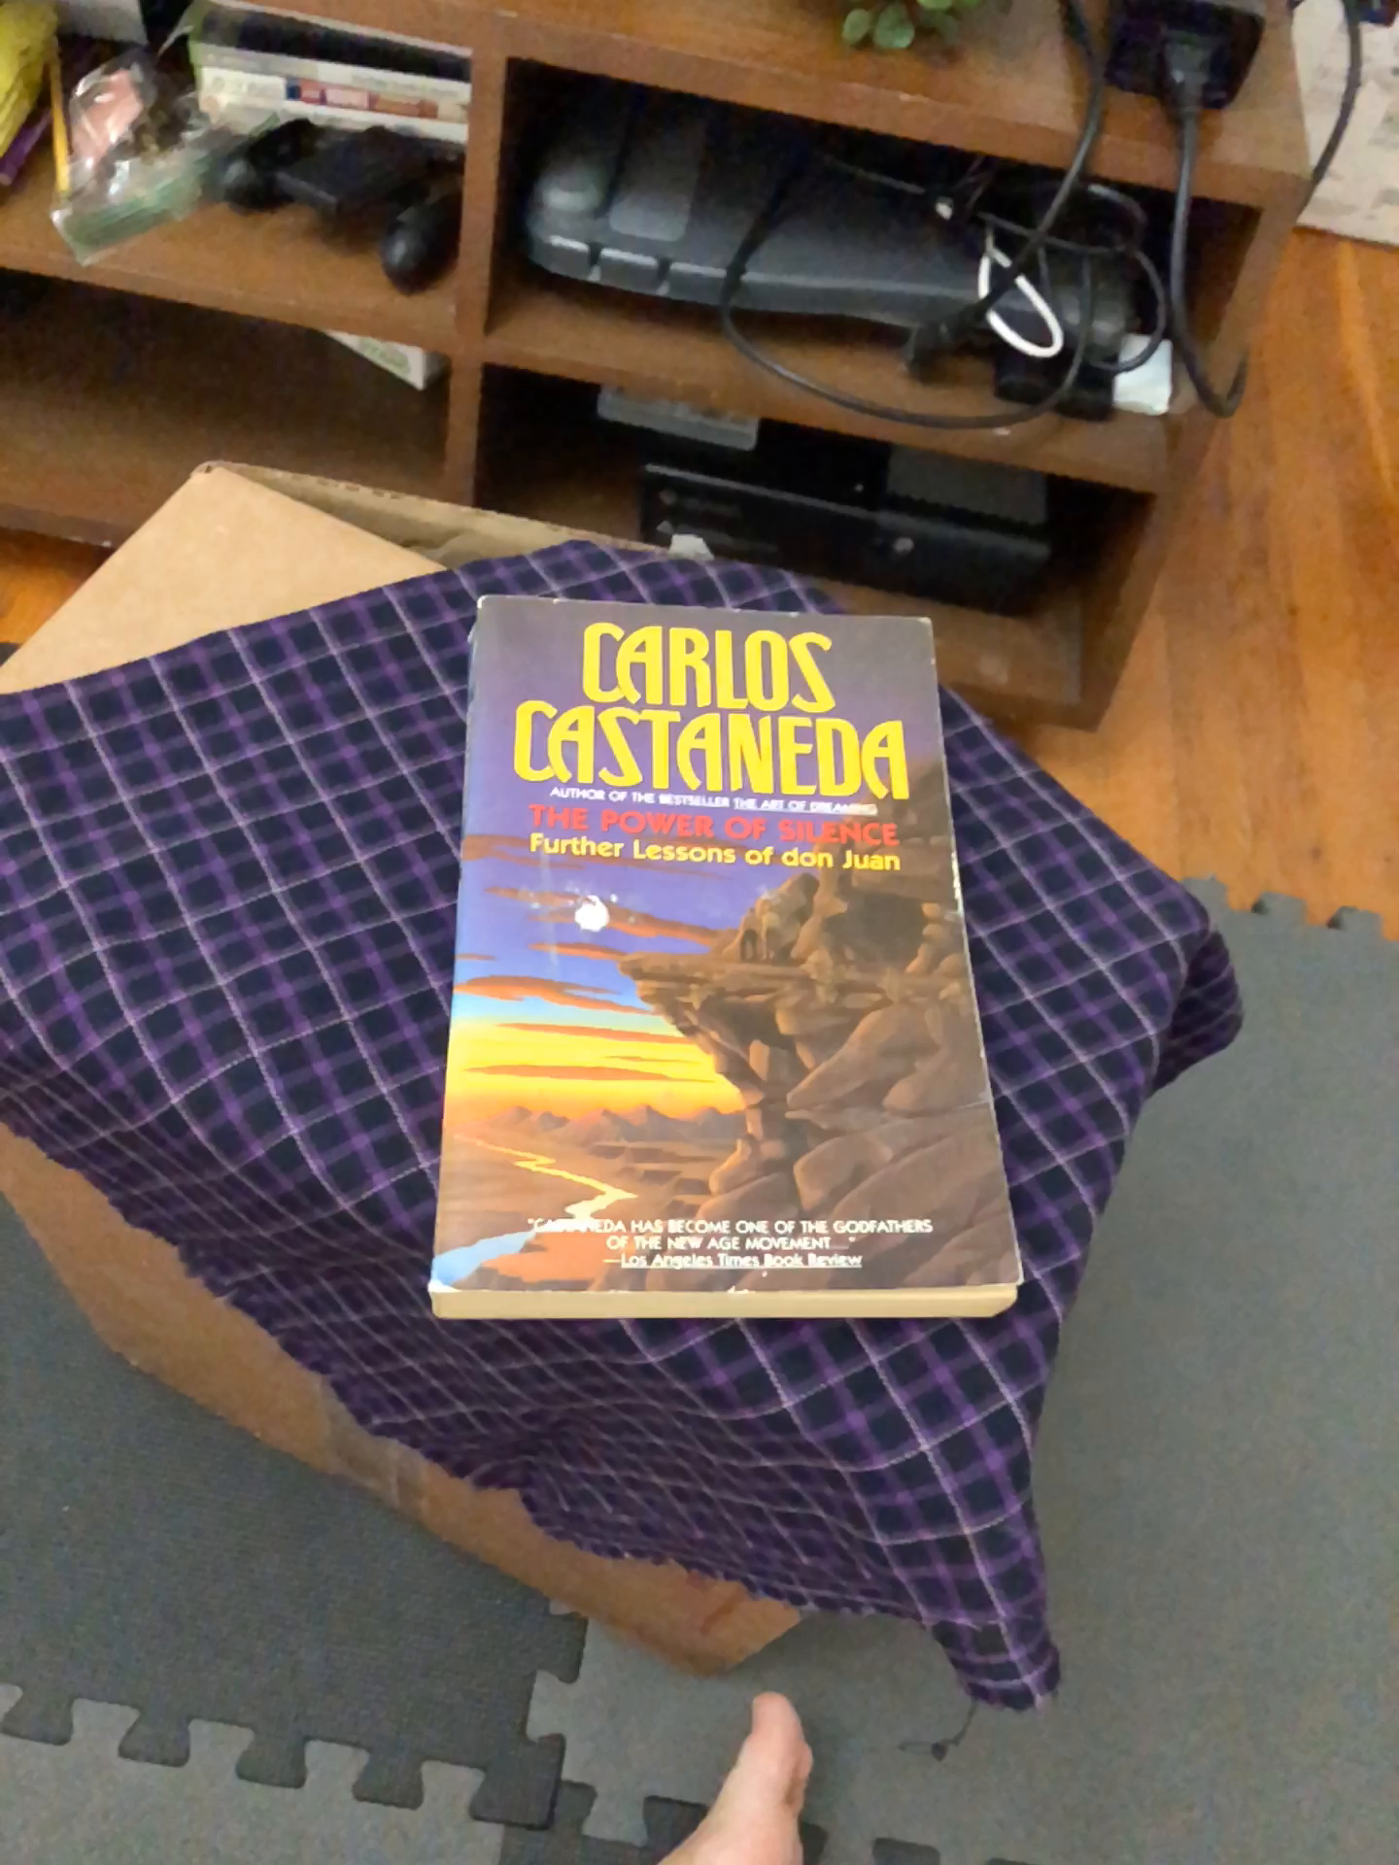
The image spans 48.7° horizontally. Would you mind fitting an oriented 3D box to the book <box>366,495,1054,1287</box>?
[{"bbox_3d":[0.002,-0.021,0.399,0.150,0.020,0.221,3,59,-6],"label":"book"}]
